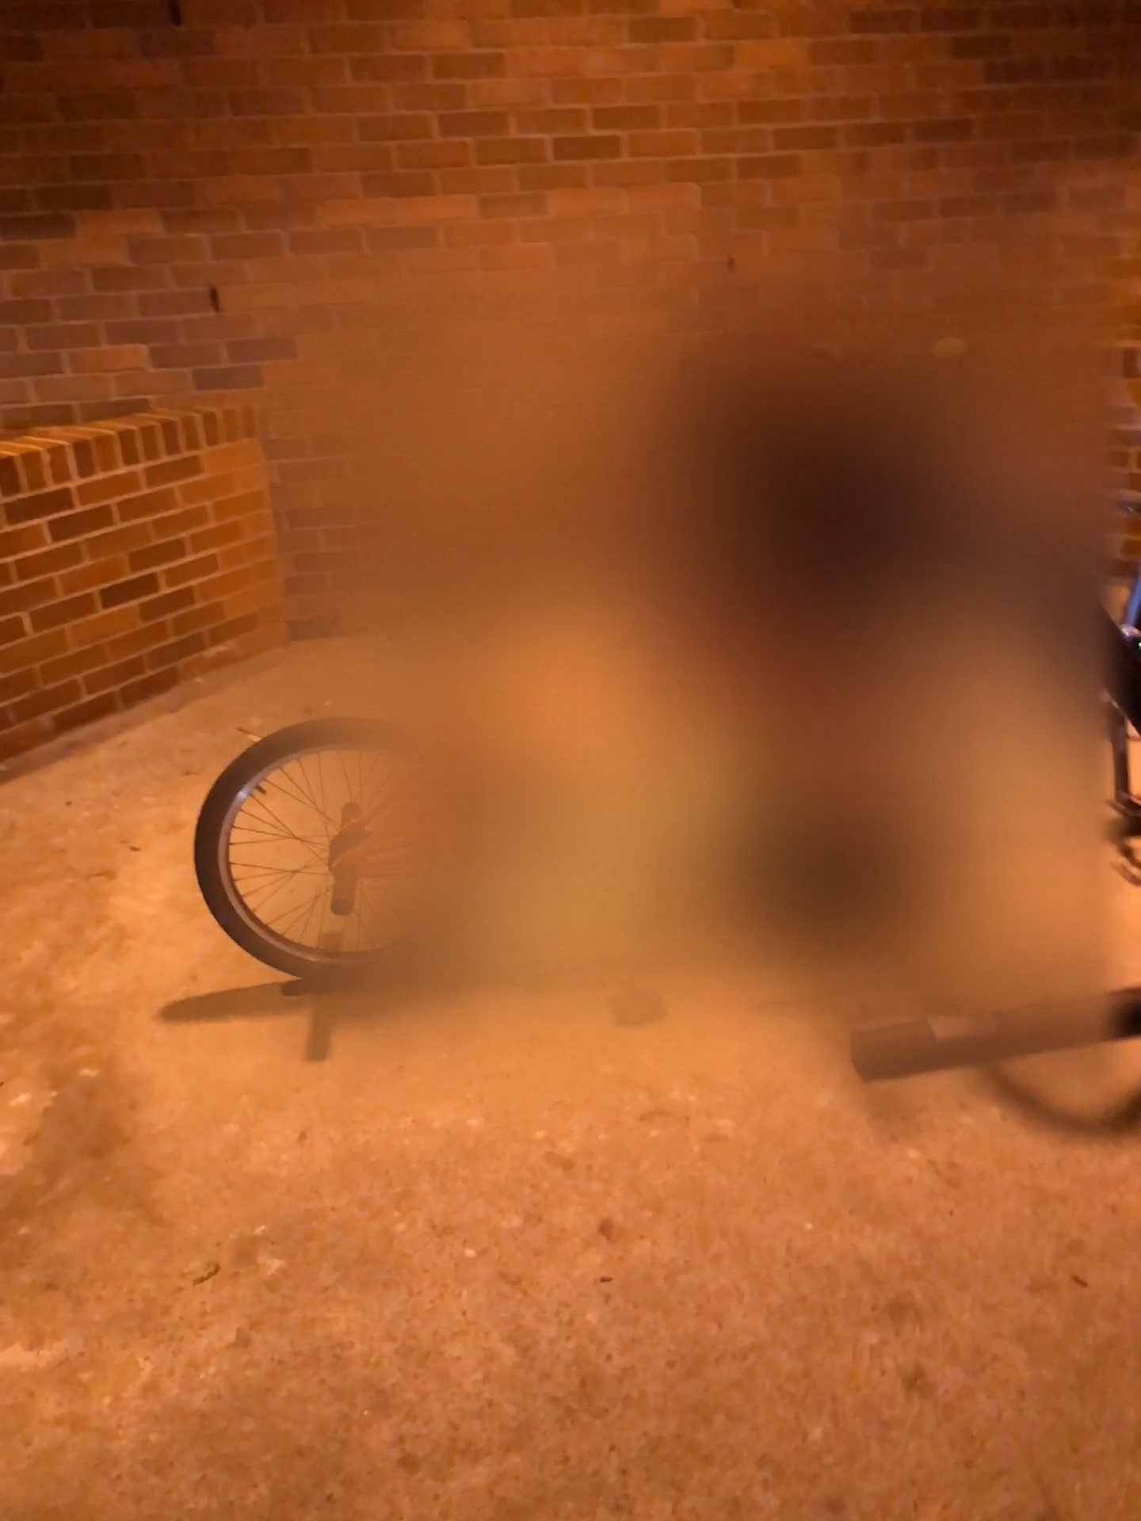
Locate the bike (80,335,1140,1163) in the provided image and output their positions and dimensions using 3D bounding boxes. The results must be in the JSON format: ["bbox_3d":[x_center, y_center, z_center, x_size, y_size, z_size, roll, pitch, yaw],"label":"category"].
[{"bbox_3d":[0.043,-0.095,2.000,1.289,0.927,0.748,-8,25,-8],"label":"bike"}]
